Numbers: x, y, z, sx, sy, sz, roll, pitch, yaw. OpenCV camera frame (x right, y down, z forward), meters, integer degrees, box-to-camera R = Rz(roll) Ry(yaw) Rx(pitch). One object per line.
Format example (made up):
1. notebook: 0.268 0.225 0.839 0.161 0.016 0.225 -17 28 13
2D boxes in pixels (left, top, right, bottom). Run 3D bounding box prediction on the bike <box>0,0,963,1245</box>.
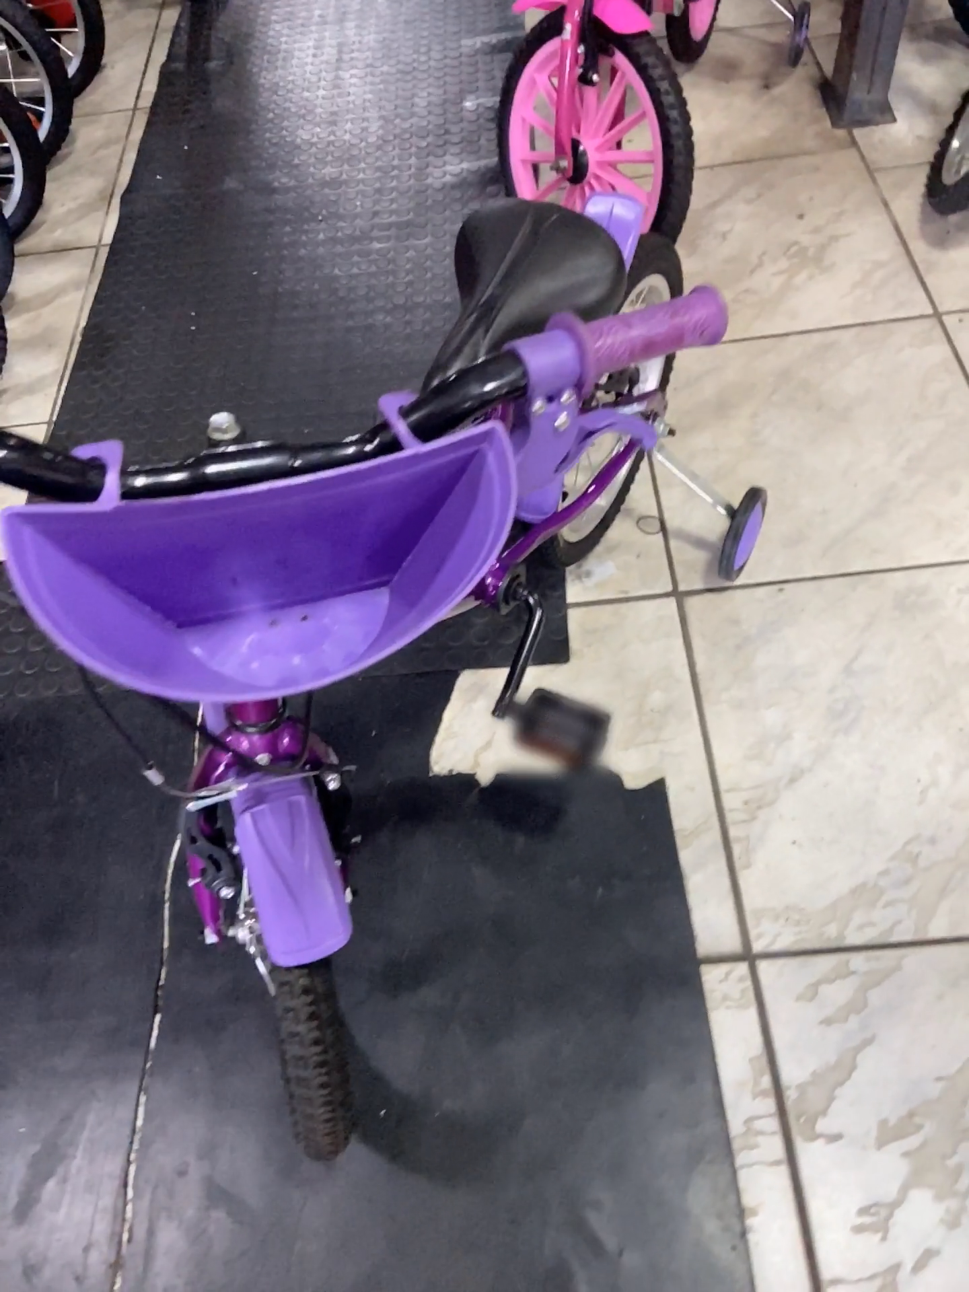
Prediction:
1. bike: 0.005 -0.137 0.825 0.447 0.743 0.974 13 58 17
